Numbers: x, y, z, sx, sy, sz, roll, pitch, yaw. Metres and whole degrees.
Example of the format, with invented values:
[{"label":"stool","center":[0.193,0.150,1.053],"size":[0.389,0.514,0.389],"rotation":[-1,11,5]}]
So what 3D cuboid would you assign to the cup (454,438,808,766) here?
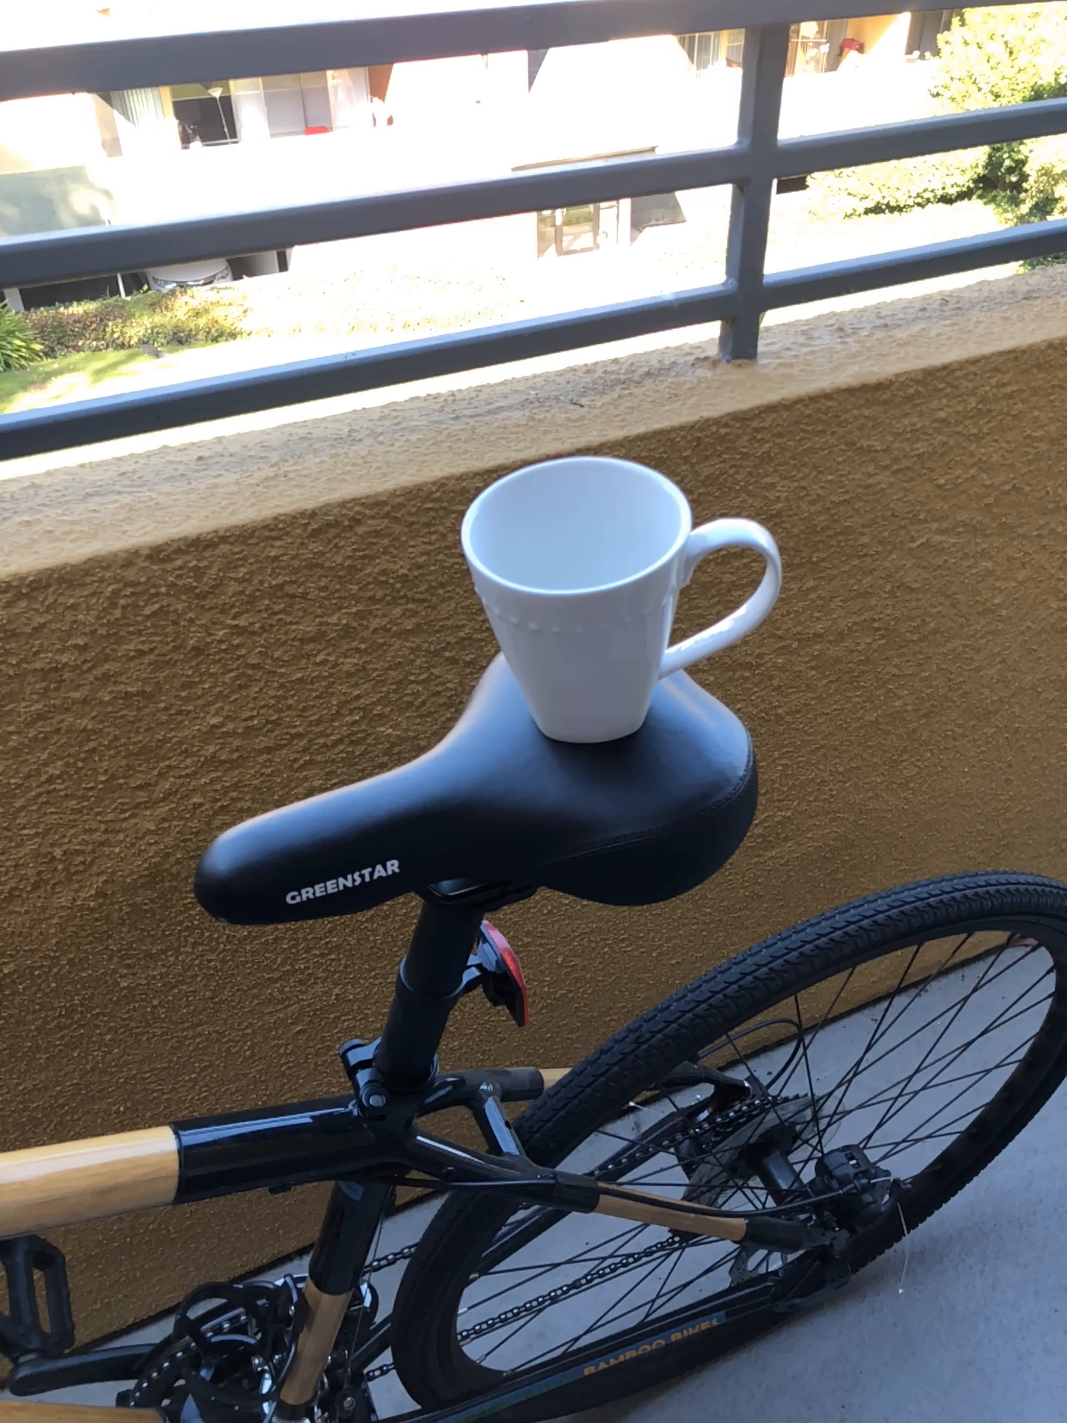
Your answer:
[{"label":"cup","center":[0.037,-0.050,0.516],"size":[0.130,0.100,0.090],"rotation":[-5,39,-6]}]
